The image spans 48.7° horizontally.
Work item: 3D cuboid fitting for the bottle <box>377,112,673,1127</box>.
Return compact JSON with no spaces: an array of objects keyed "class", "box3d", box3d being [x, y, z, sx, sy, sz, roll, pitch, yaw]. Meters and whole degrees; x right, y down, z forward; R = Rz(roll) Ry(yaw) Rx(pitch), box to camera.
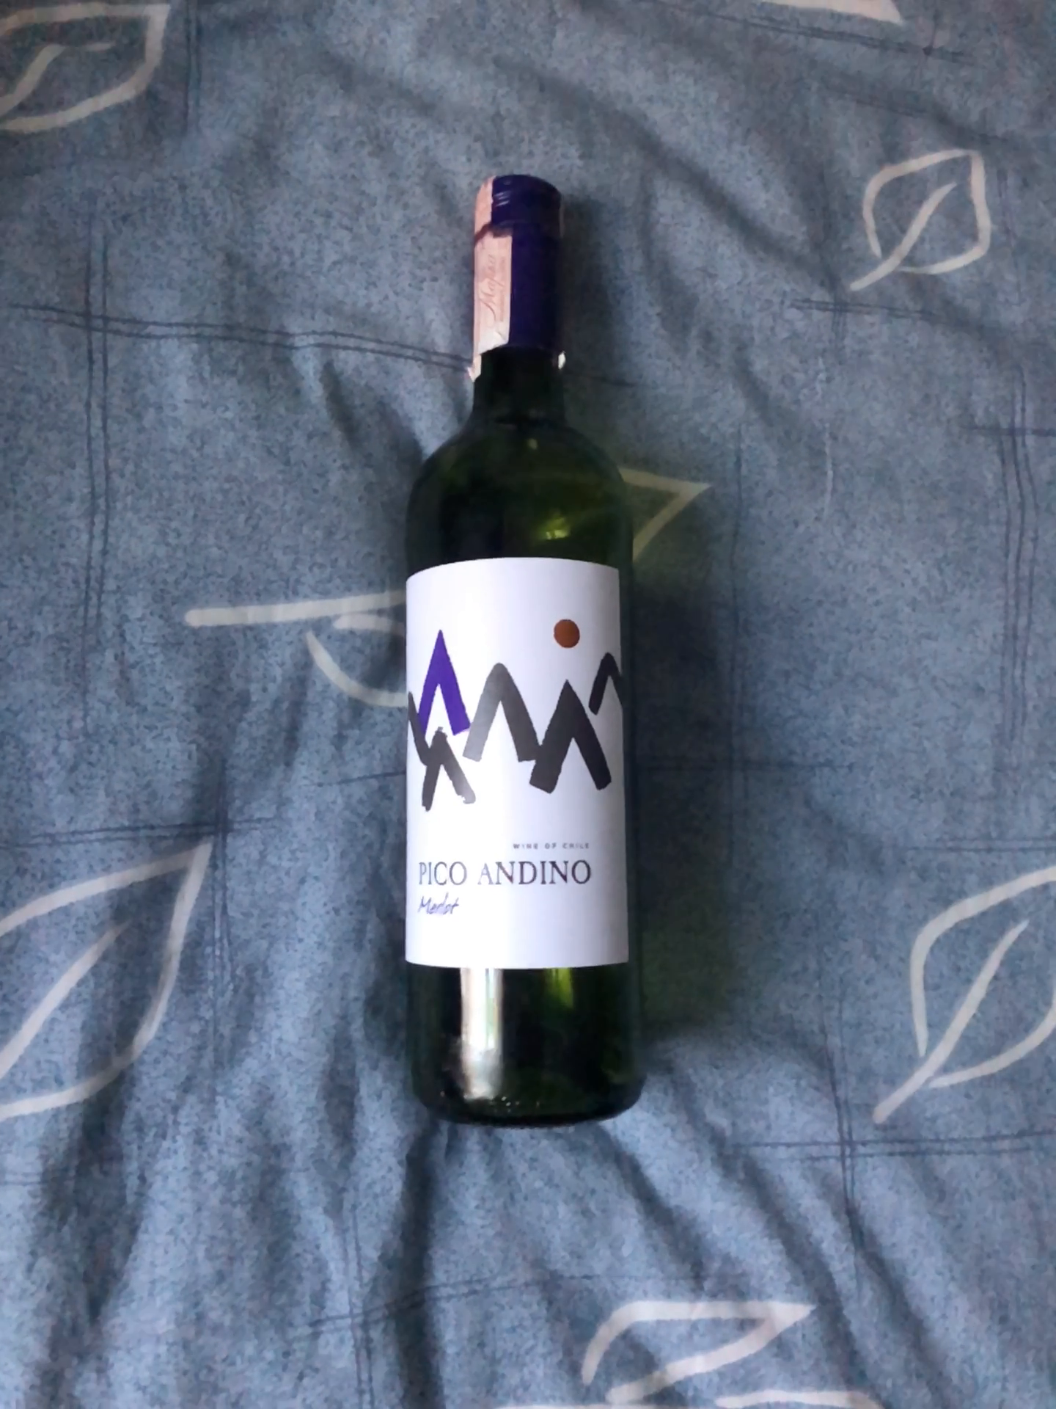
[{"class":"bottle","box3d":[0.001,-0.026,0.372,0.080,0.080,0.290,-2,83,6]}]
